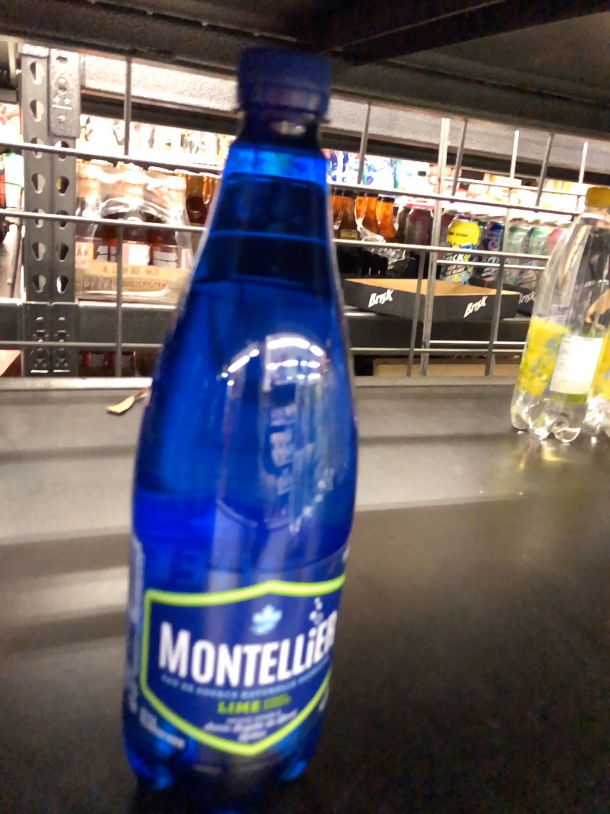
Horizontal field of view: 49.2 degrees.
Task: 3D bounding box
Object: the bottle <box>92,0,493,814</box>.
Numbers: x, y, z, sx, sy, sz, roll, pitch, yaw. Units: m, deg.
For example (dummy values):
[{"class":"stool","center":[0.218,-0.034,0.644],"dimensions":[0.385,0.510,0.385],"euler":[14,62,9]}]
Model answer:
[{"class":"bottle","center":[-0.025,0.011,0.255],"dimensions":[0.100,0.288,0.090],"euler":[0,19,-21]}]
